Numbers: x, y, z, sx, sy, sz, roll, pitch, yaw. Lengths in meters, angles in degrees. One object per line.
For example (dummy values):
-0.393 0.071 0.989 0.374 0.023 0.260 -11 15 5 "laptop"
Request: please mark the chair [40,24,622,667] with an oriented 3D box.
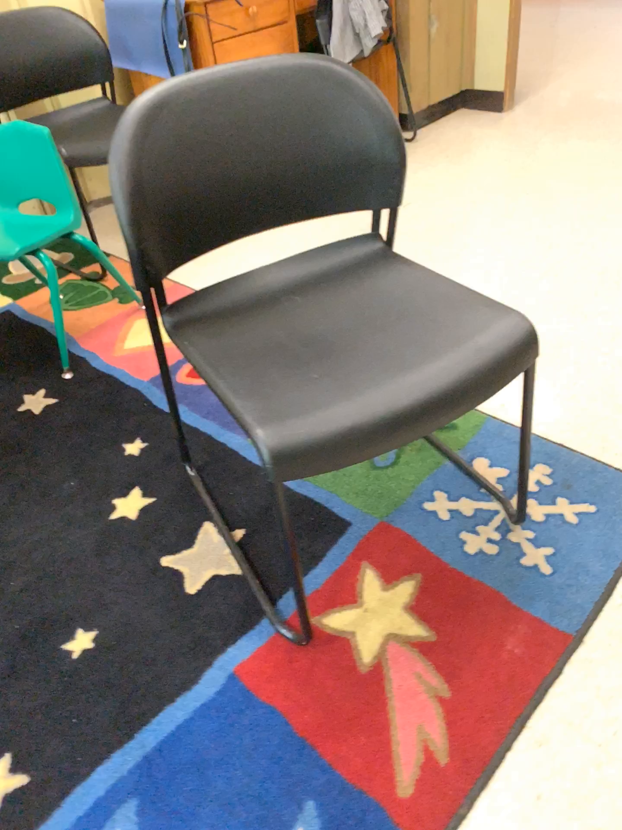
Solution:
0.019 -0.158 1.112 0.590 0.775 0.614 -23 41 -18 "chair"
